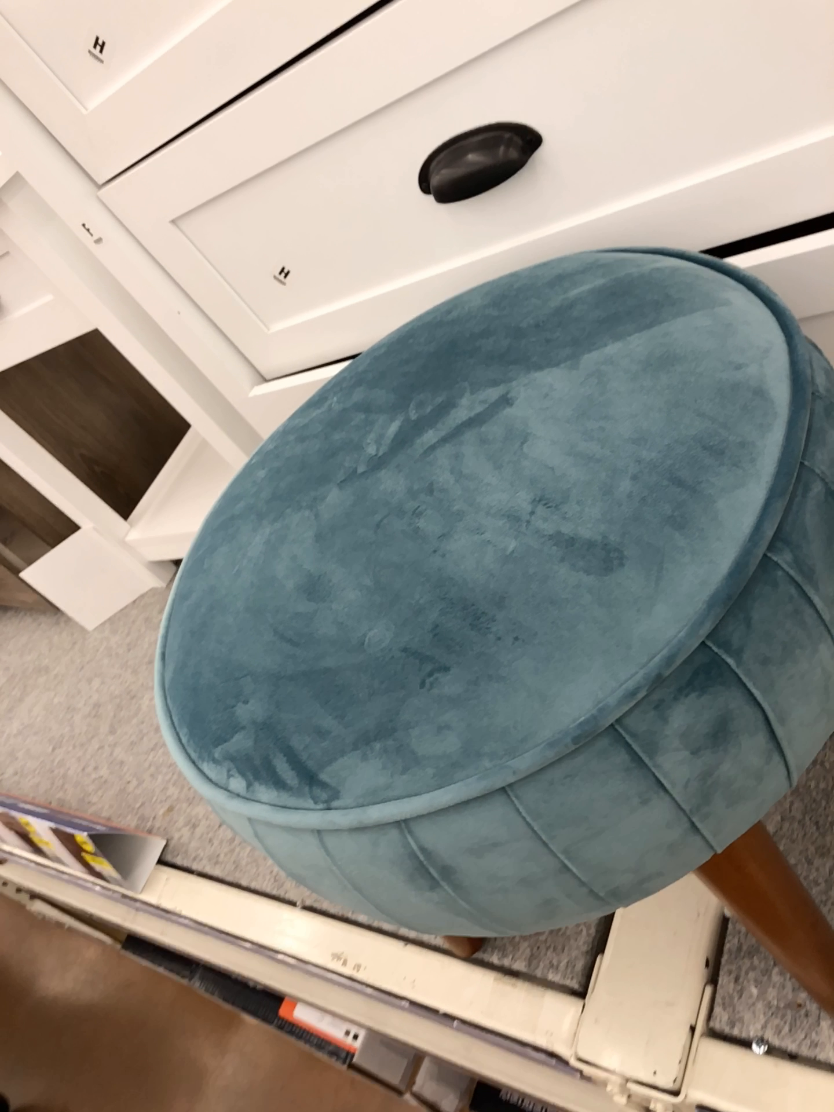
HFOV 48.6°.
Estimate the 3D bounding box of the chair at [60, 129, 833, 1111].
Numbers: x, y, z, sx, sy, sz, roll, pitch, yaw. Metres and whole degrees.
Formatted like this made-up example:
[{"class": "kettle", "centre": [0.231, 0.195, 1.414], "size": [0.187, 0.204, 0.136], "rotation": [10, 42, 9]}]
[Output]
[{"class": "chair", "centre": [0.110, 0.059, 0.616], "size": [0.372, 0.398, 0.370], "rotation": [-3, 50, 42]}]
